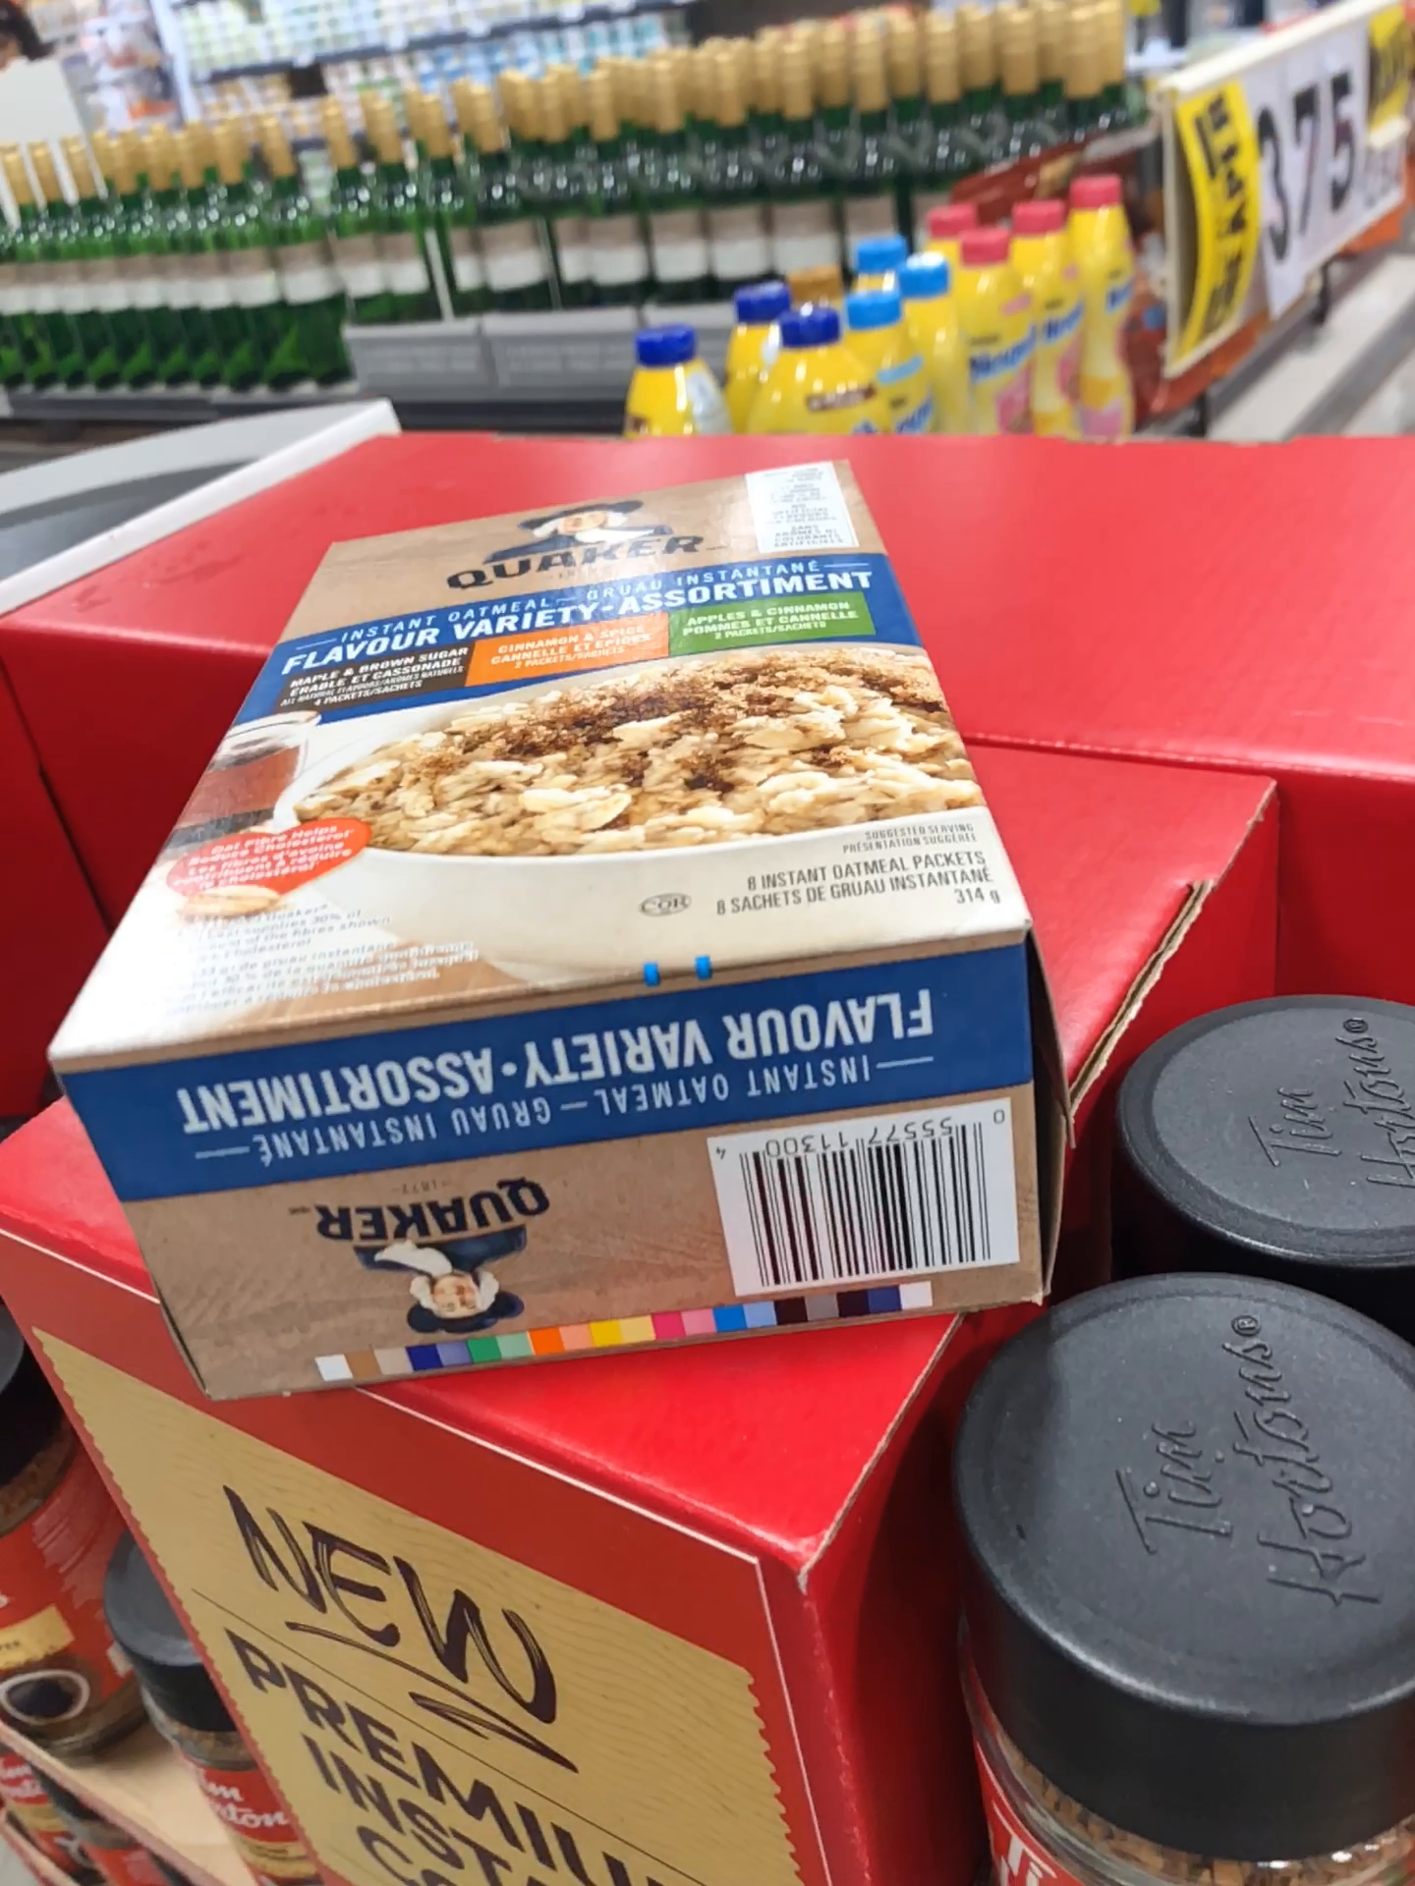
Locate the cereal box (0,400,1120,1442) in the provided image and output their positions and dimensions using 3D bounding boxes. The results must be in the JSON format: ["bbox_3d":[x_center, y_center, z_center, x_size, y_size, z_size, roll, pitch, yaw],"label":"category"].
[{"bbox_3d":[-0.021,-0.025,0.291,0.140,0.070,0.211,-8,34,3],"label":"cereal box"}]
